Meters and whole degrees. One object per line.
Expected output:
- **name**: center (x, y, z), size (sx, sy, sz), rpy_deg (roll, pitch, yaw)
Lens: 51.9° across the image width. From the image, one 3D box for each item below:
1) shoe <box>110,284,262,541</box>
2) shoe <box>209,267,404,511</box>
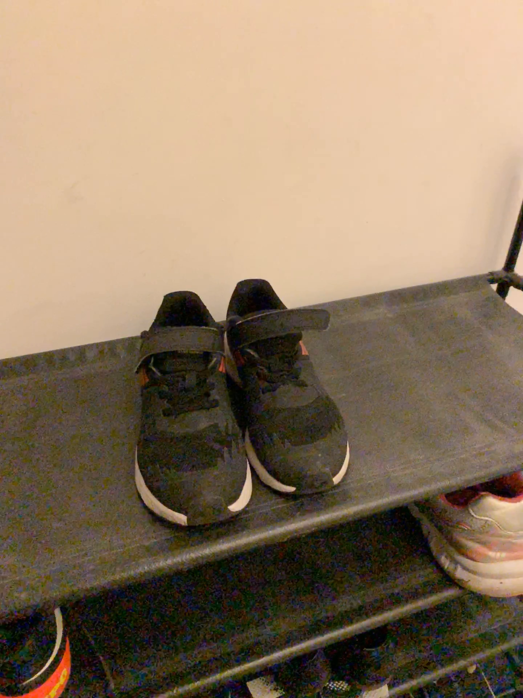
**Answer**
- **shoe**: center (-0.065, 0.033, 0.424), size (0.090, 0.079, 0.202), rpy_deg (-7, 34, -10)
- **shoe**: center (0.022, 0.017, 0.437), size (0.090, 0.079, 0.202), rpy_deg (-8, 34, -13)
